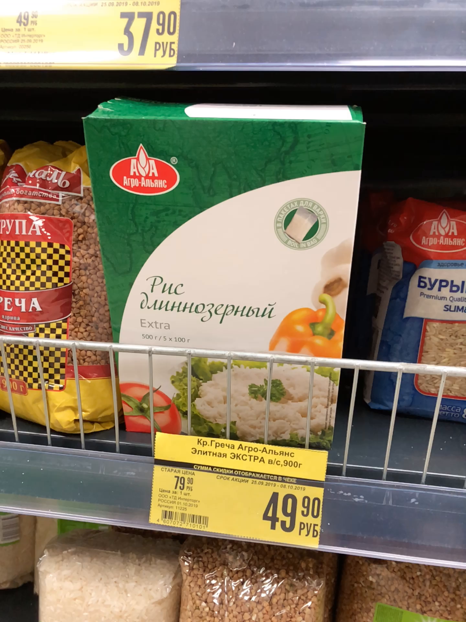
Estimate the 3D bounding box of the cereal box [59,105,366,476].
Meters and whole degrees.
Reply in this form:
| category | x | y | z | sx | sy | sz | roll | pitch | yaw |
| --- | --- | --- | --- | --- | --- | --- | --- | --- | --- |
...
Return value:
| category | x | y | z | sx | sy | sz | roll | pitch | yaw |
| --- | --- | --- | --- | --- | --- | --- | --- | --- | --- |
| cereal box | -0.006 | -0.005 | 0.303 | 0.140 | 0.209 | 0.050 | 4 | 29 | 9 |
